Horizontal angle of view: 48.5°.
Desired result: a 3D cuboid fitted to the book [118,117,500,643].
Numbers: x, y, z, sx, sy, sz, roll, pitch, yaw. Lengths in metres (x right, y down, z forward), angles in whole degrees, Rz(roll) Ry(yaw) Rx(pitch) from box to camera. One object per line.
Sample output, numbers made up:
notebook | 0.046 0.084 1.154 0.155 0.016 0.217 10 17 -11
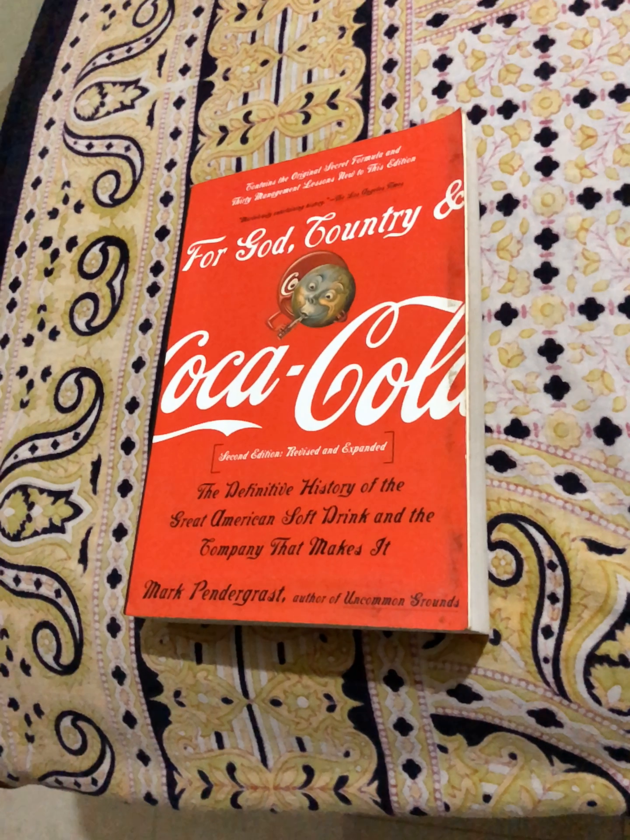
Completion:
book | 0.001 -0.017 0.341 0.160 0.050 0.230 -5 69 24
